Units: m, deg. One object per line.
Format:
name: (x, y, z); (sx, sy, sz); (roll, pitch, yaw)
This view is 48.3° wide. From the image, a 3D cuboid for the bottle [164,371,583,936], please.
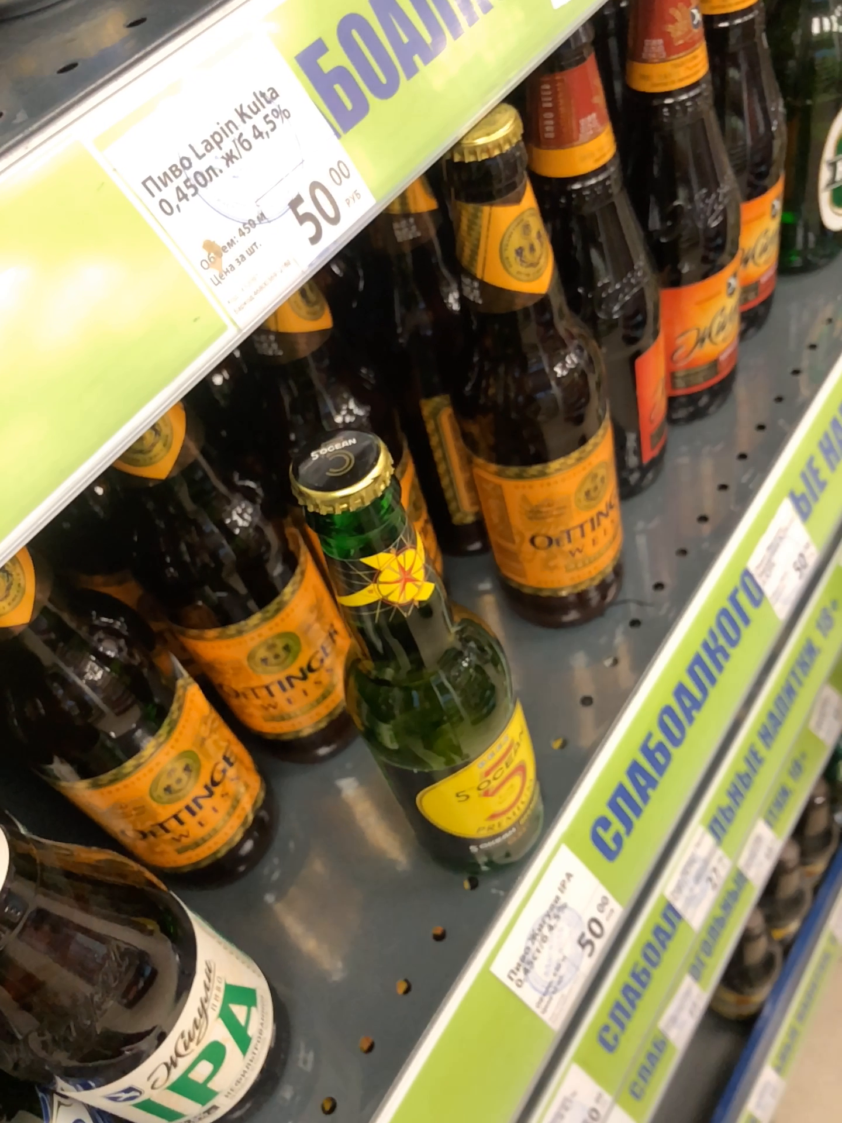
bottle: (0.000, 0.046, 0.327); (0.070, 0.210, 0.070); (-7, 50, 9)
